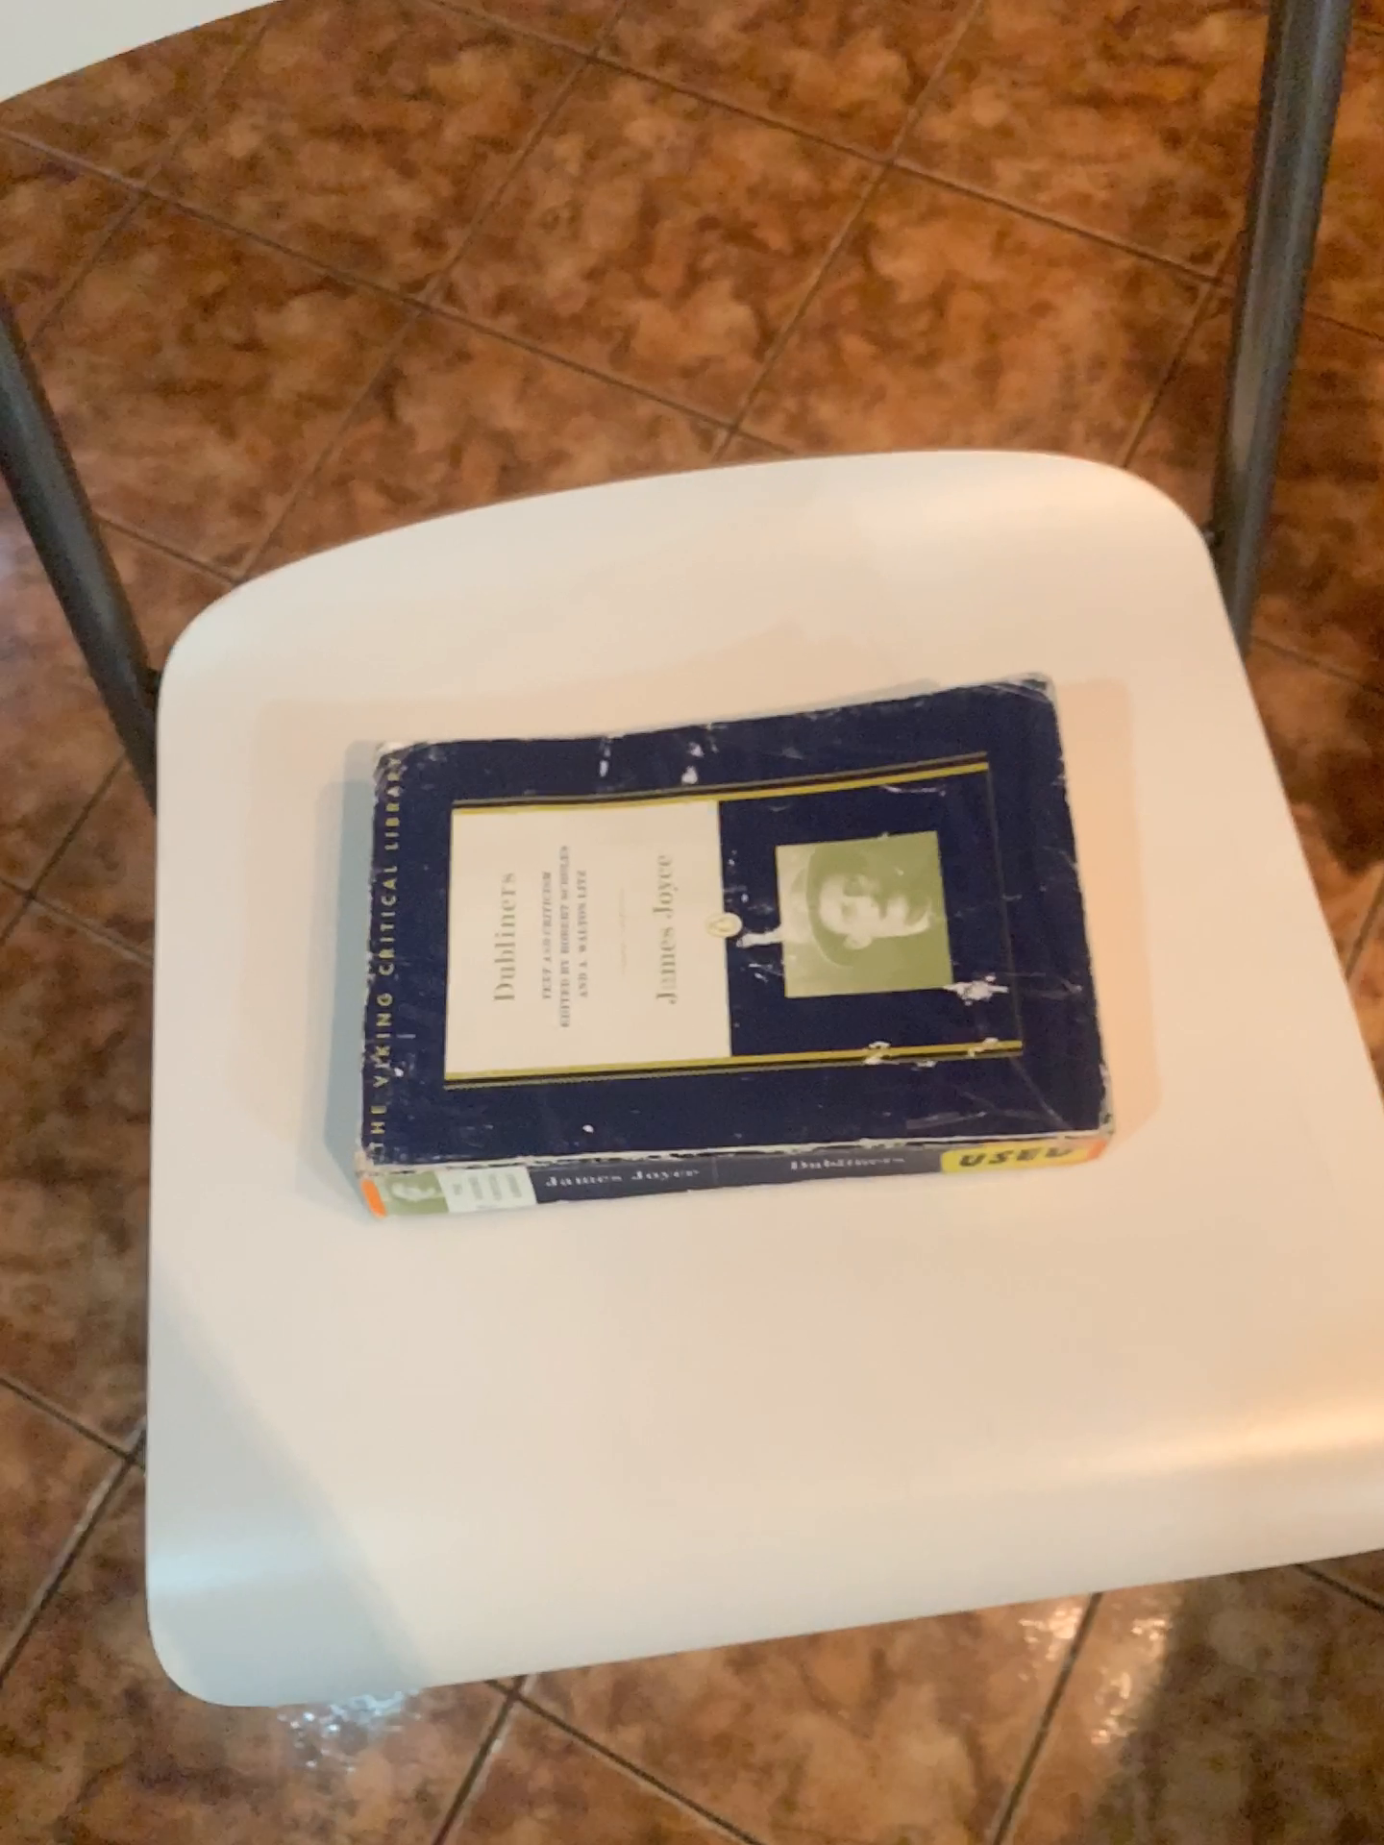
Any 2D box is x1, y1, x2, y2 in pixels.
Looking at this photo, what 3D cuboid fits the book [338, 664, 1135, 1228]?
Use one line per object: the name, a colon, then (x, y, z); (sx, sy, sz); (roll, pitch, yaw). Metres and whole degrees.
book: (0.006, 0.006, 0.389); (0.197, 0.035, 0.132); (-5, 72, 2)
